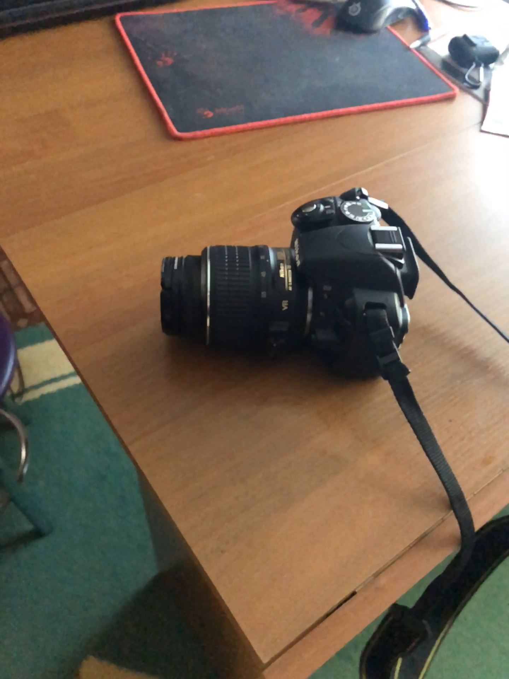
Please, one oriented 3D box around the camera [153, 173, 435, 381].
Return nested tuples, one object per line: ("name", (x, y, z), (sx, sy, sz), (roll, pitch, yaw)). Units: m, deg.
("camera", (0.019, -0.042, 0.386), (0.161, 0.078, 0.111), (2, 52, -5))
